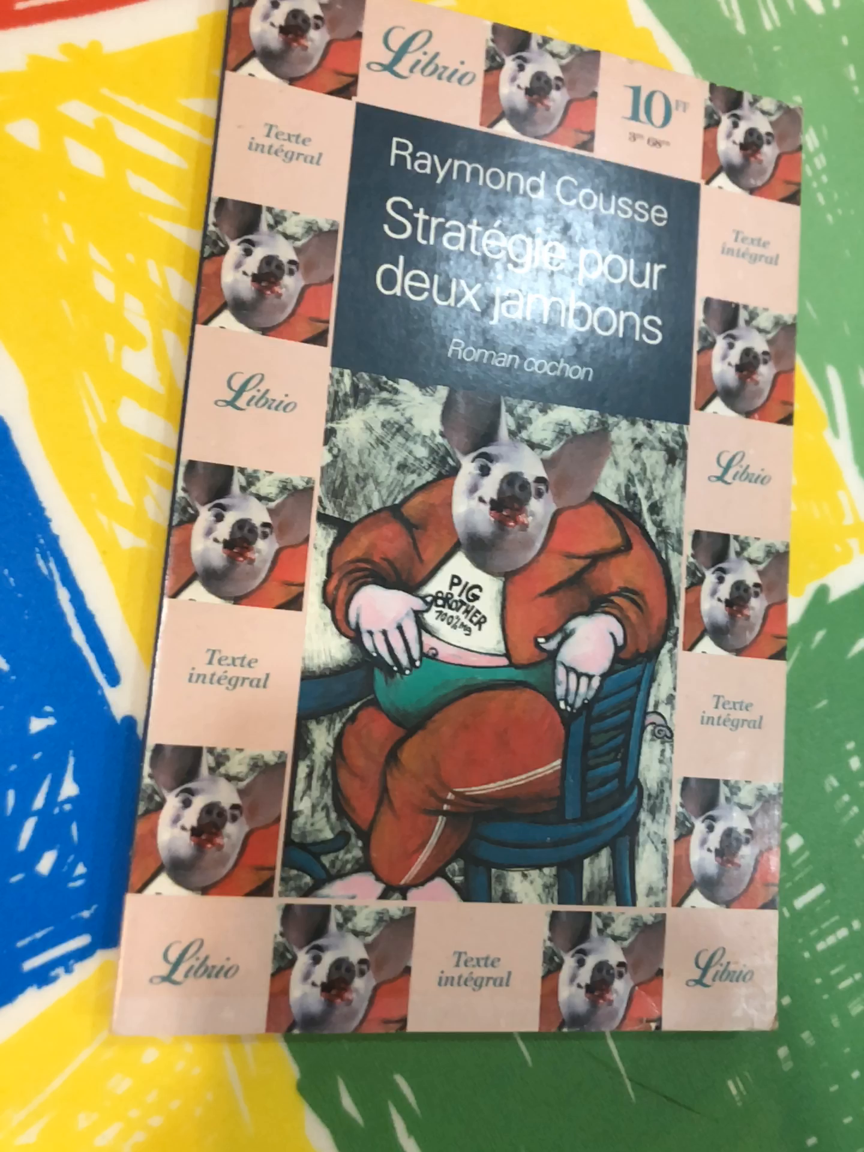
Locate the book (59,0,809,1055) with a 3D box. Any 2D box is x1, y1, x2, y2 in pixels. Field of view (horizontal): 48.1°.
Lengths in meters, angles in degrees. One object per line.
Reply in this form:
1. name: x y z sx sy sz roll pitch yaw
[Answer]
1. book: 0.010 -0.014 0.188 0.130 0.014 0.197 6 83 -14
